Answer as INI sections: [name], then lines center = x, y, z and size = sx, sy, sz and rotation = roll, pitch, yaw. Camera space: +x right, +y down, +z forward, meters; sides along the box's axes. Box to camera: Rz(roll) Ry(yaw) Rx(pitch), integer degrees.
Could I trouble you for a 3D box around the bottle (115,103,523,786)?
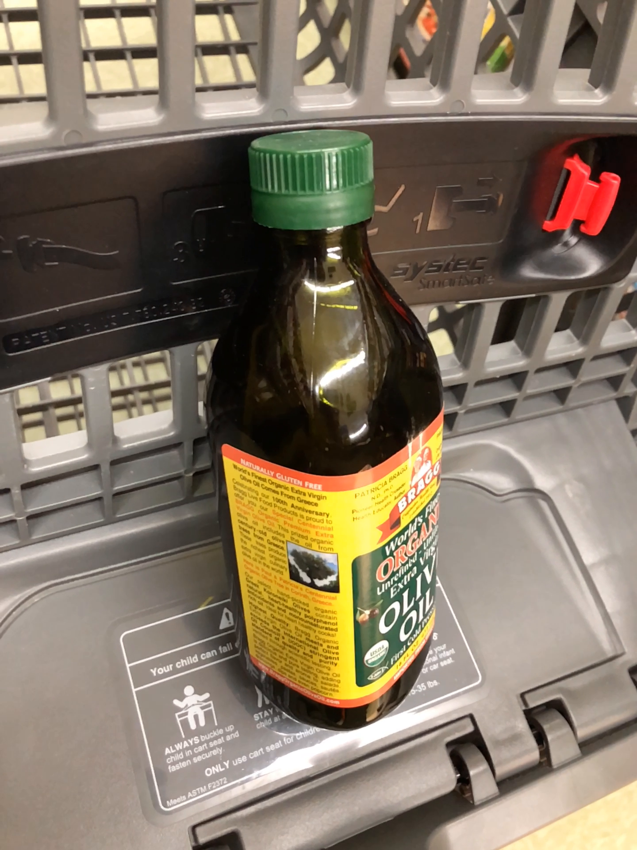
[bottle]
center = 0.004, 0.008, 0.228
size = 0.070, 0.193, 0.080
rotation = 19, 35, 30
